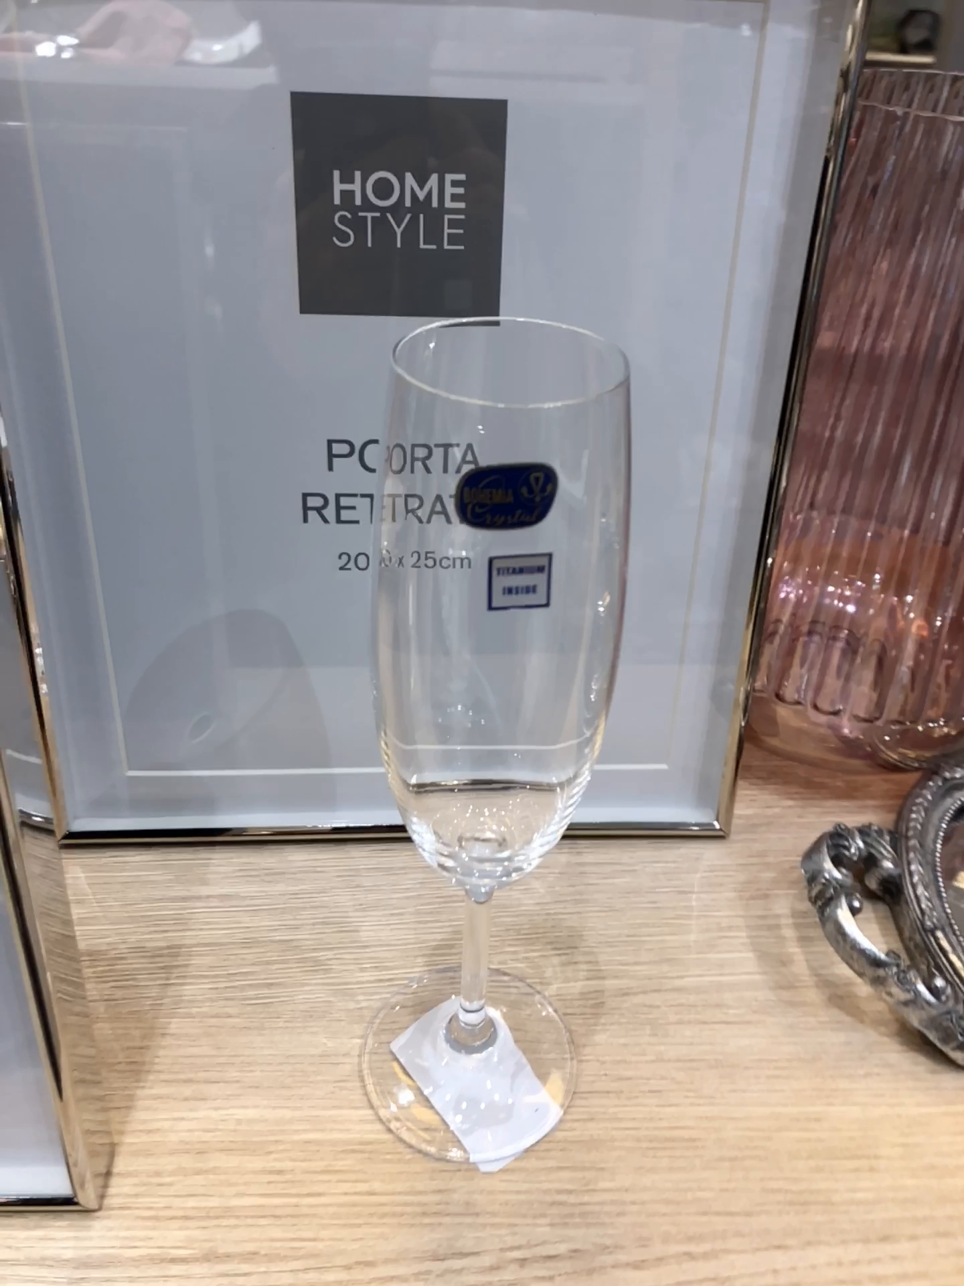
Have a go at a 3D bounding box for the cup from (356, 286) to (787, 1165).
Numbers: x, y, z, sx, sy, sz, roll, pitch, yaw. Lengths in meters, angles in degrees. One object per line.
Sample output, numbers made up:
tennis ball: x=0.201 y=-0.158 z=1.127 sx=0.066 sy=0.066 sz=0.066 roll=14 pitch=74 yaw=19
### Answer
cup: x=0.008 y=0.033 z=0.265 sx=0.070 sy=0.218 sz=0.071 roll=2 pitch=35 yaw=-1
